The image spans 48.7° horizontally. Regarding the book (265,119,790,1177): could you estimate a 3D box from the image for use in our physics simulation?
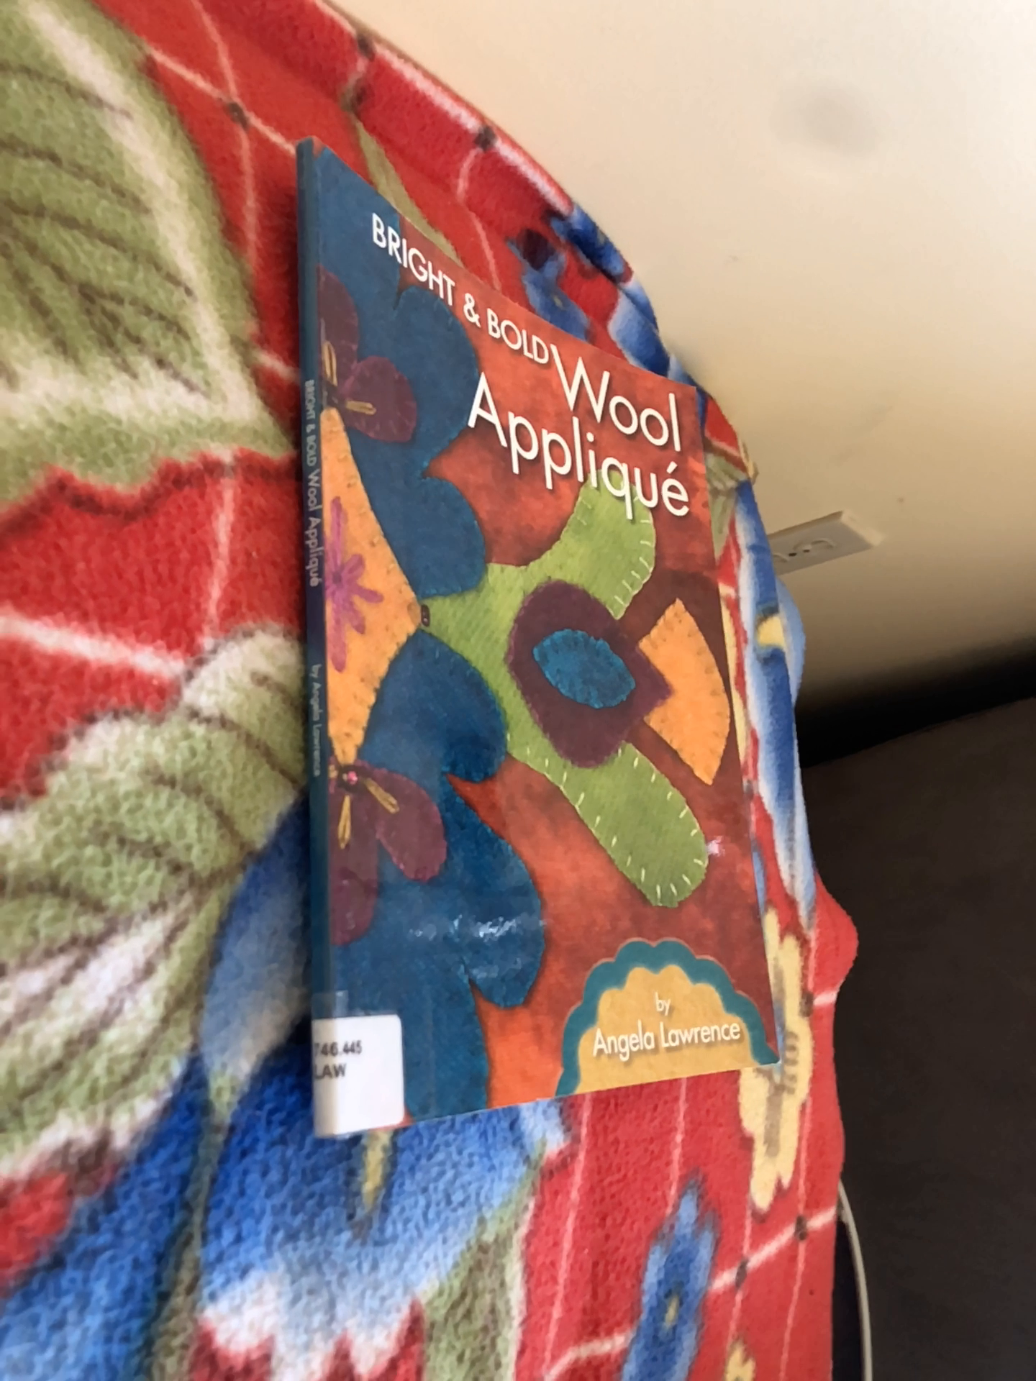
[{"bbox_3d":[0.014,-0.005,0.365,0.221,0.020,0.264,15,66,-52],"label":"book"}]
